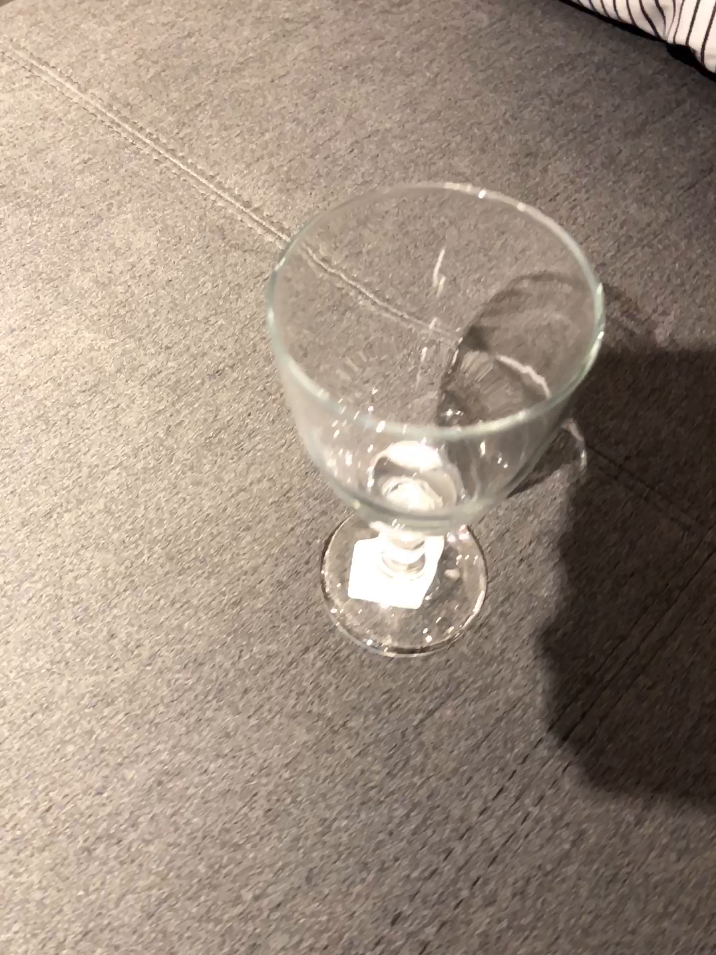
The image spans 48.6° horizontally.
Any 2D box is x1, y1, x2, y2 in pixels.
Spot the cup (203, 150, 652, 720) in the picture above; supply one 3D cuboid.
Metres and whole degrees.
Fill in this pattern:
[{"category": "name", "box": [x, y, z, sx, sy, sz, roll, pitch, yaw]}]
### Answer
[{"category": "cup", "box": [0.020, 0.001, 0.265, 0.090, 0.170, 0.090, 1, 58, -1]}]
